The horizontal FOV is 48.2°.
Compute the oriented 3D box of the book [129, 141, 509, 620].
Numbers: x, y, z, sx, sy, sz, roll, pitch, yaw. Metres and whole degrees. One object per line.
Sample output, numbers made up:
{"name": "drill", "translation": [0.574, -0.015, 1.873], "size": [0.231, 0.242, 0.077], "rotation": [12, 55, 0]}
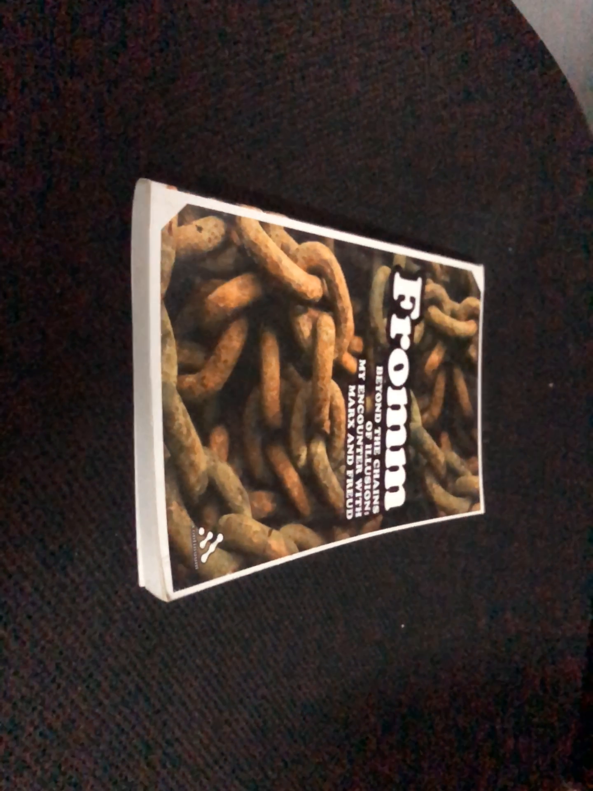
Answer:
{"name": "book", "translation": [0.025, -0.003, 0.269], "size": [0.196, 0.016, 0.144], "rotation": [2, 86, -42]}
